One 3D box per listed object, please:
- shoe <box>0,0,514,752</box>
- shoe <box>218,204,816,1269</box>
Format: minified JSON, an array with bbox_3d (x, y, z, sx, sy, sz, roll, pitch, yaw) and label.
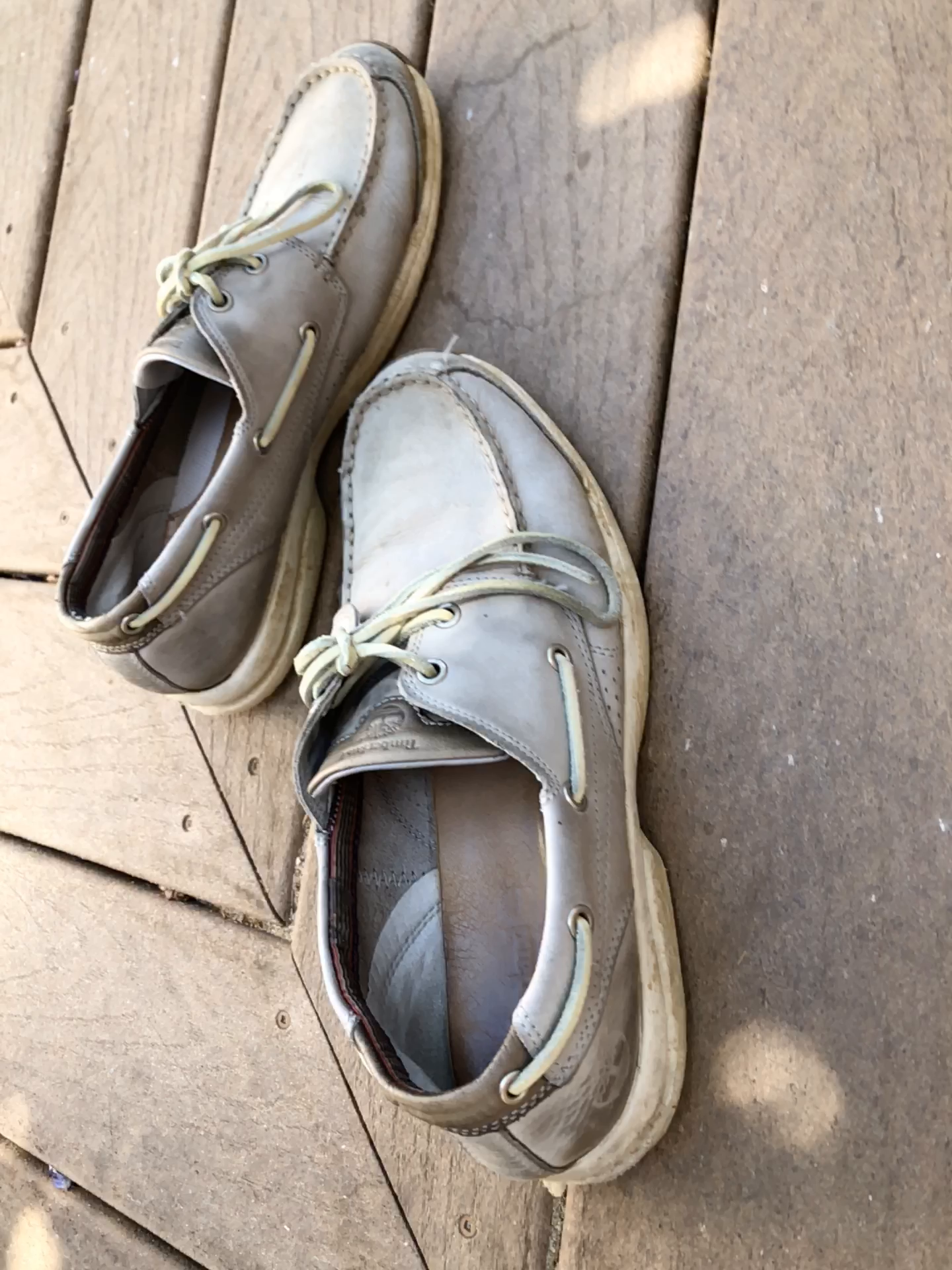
[{"bbox_3d":[-0.096,-0.119,0.466,0.117,0.099,0.314,13,87,36],"label":"shoe"},{"bbox_3d":[0.004,0.034,0.366,0.120,0.109,0.310,-20,69,30],"label":"shoe"}]
